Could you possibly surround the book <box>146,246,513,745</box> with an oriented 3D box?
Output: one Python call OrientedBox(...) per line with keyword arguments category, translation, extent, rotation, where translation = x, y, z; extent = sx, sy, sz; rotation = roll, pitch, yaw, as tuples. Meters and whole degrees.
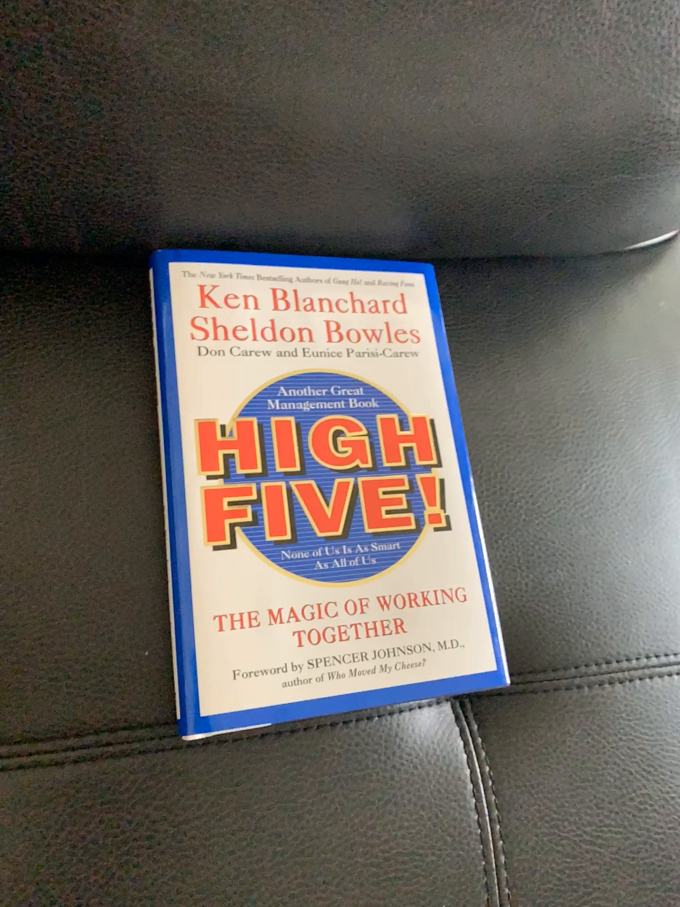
OrientedBox(category="book", translation=(-0.009, 0.008, 0.338), extent=(0.151, 0.023, 0.220), rotation=(-2, 74, -19))
